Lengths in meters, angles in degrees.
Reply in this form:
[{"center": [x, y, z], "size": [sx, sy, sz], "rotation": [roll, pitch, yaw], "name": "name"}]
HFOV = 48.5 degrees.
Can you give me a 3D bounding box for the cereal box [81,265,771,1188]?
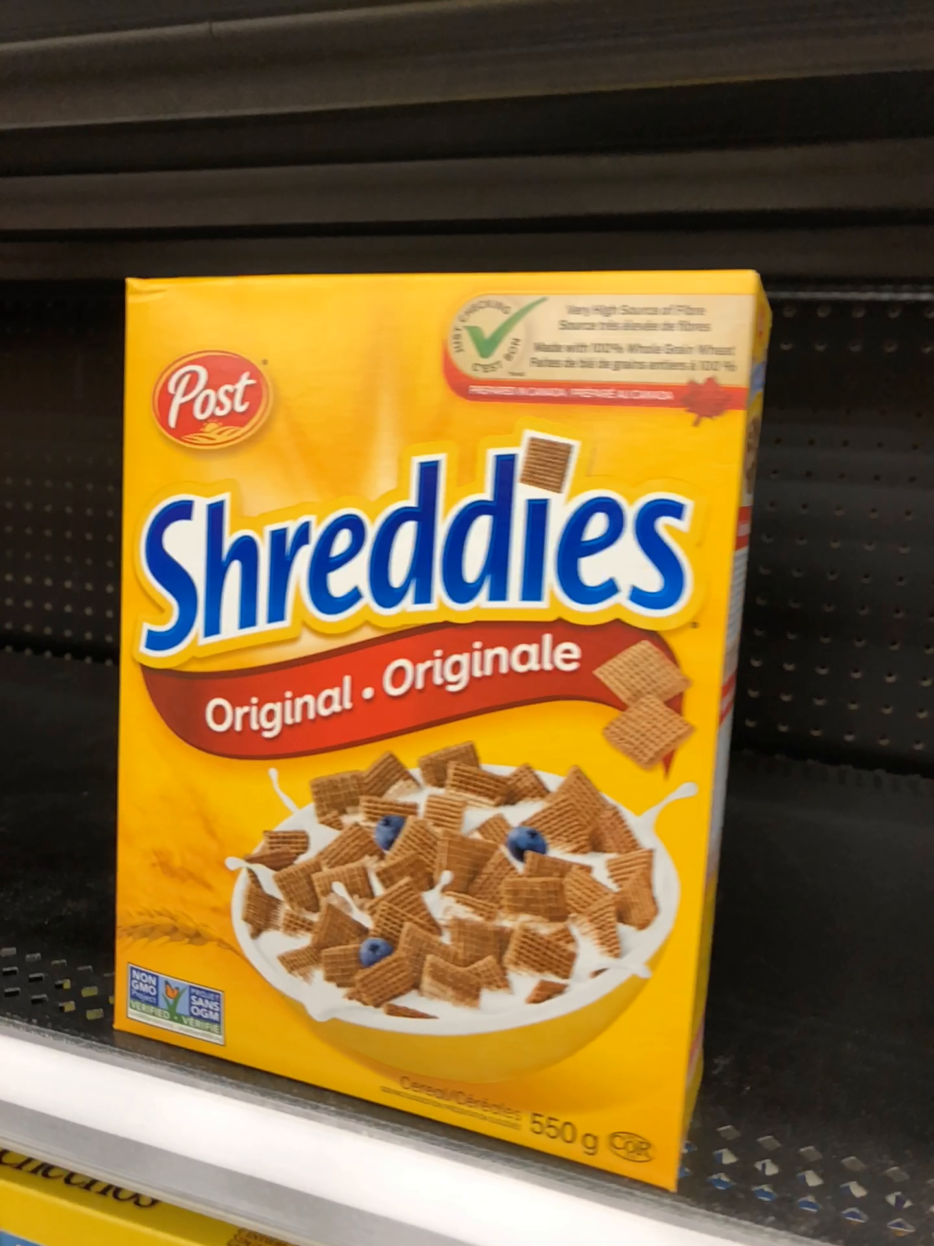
[{"center": [-0.020, 0.021, 0.352], "size": [0.210, 0.259, 0.070], "rotation": [6, 8, 19], "name": "cereal box"}]
